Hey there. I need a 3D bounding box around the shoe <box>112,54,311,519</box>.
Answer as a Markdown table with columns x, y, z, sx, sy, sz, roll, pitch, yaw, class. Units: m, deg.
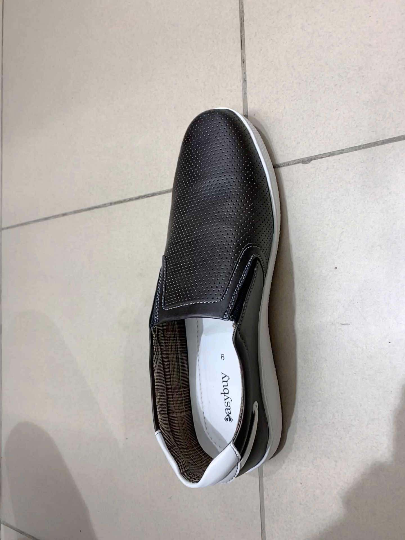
| x | y | z | sx | sy | sz | roll | pitch | yaw | class |
| --- | --- | --- | --- | --- | --- | --- | --- | --- | --- |
| 0.005 | 0.011 | 0.337 | 0.111 | 0.090 | 0.300 | -8 | 83 | 35 | shoe |
